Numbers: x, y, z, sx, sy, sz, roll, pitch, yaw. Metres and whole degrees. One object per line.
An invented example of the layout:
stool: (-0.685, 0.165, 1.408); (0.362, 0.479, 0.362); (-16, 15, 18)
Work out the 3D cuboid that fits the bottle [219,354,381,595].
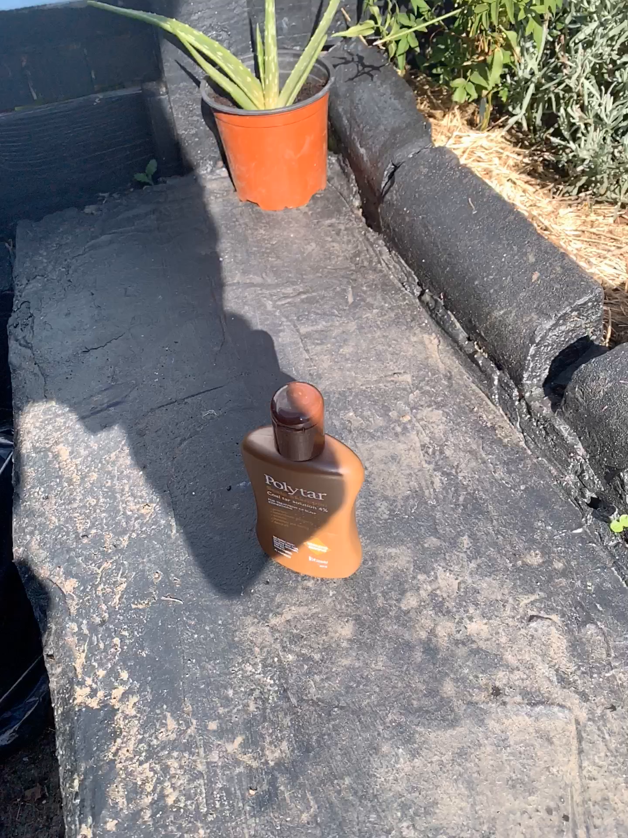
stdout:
bottle: (-0.004, 0.038, 0.368); (0.070, 0.149, 0.040); (12, 49, 13)
